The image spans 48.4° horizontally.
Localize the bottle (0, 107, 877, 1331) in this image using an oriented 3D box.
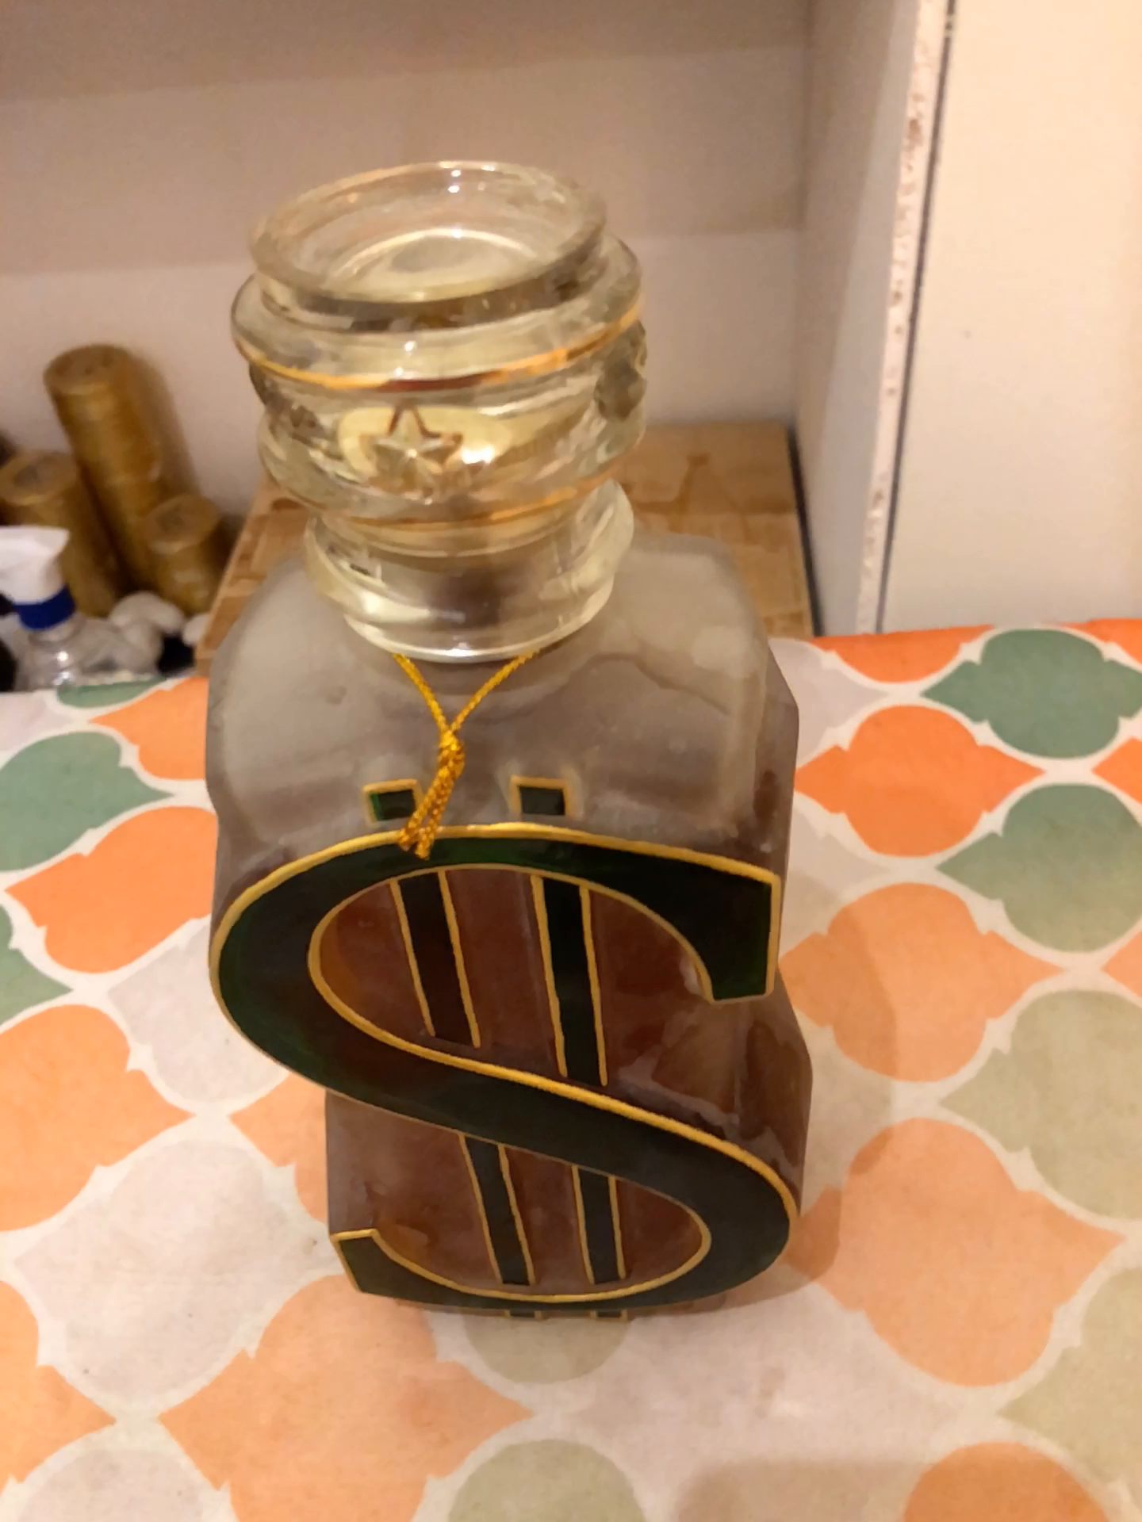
[{"bbox_3d":[-0.012,0.023,0.225,0.100,0.233,0.064,-2,45,4],"label":"bottle"}]
